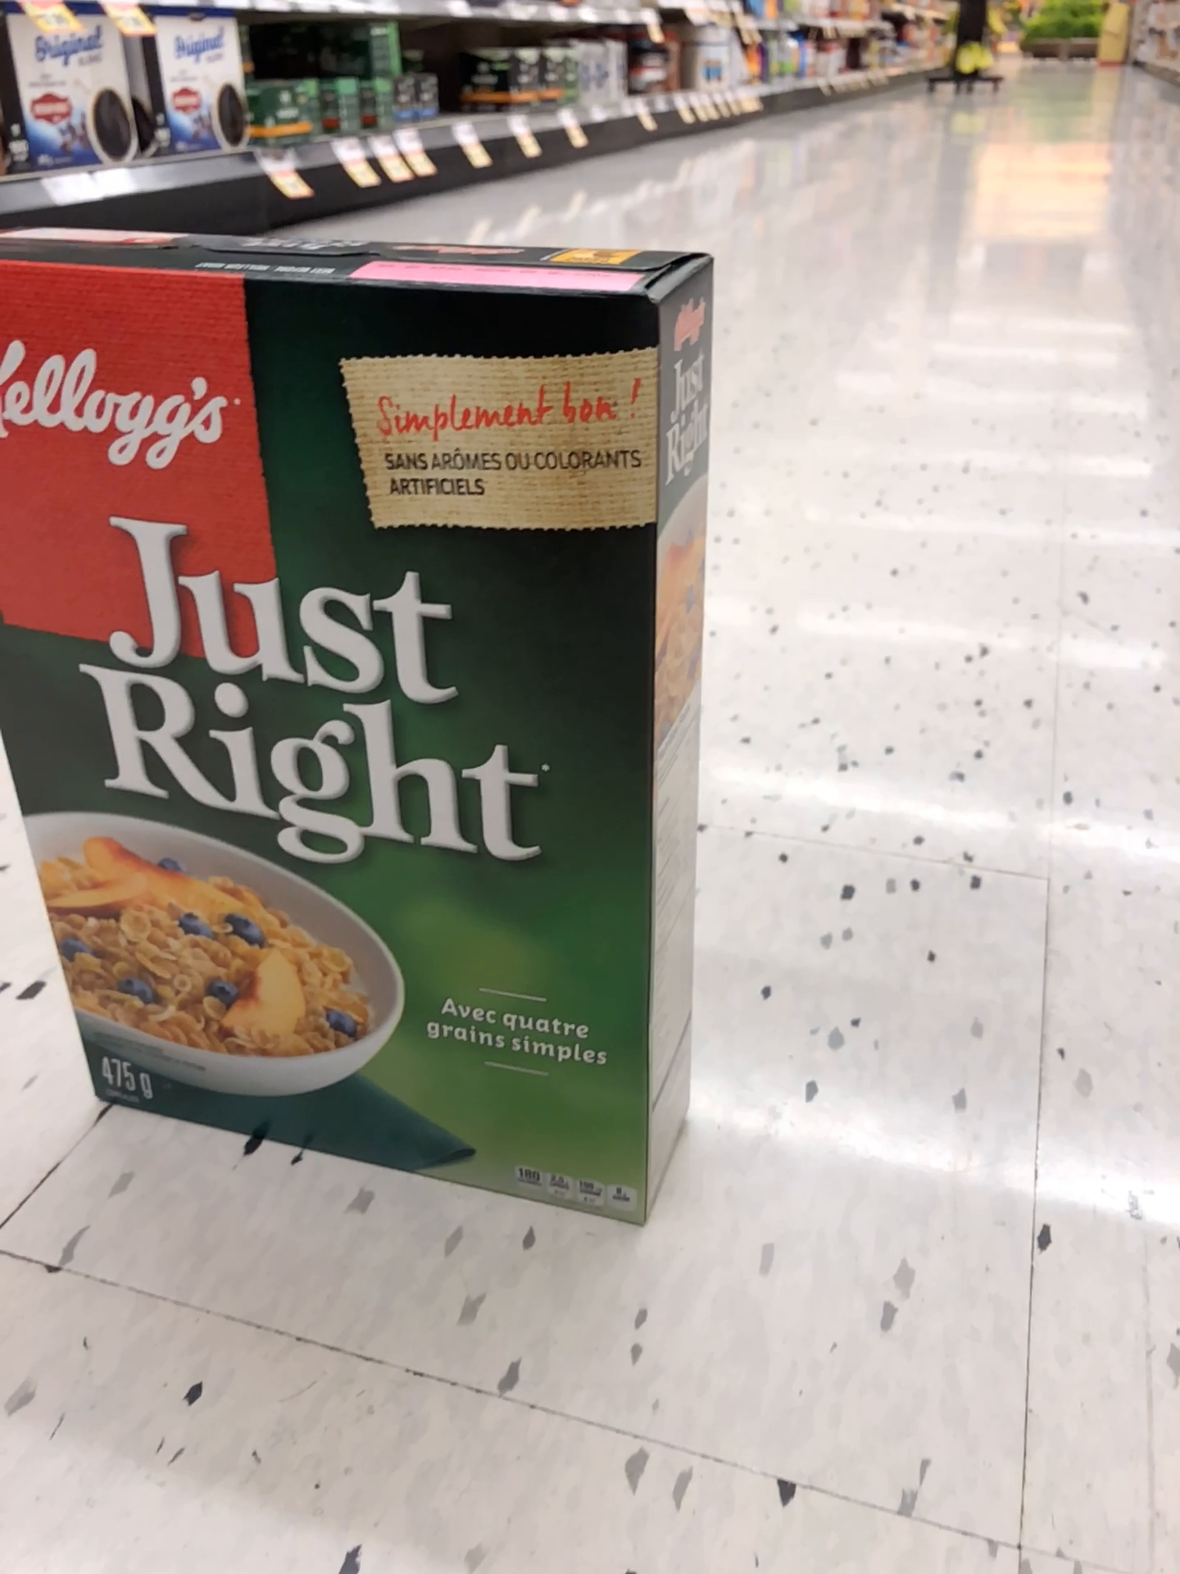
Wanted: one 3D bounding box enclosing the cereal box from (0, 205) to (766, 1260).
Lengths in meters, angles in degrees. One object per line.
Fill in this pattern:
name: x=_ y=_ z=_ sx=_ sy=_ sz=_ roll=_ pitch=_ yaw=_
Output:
cereal box: x=-0.067 y=-0.008 z=0.360 sx=0.210 sy=0.268 sz=0.050 roll=9 pitch=31 yaw=17
